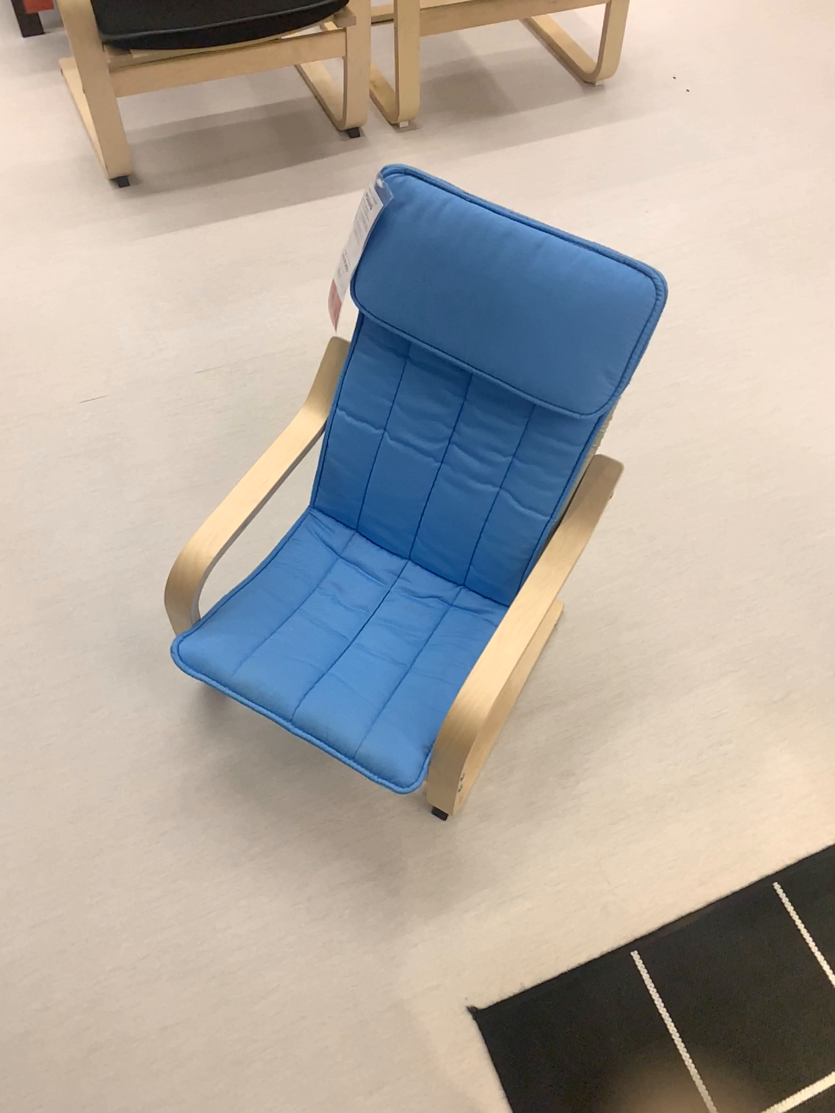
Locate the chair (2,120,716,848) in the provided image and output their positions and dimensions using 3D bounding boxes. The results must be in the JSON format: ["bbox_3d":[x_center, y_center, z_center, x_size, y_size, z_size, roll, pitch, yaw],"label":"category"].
[{"bbox_3d":[-0.046,-0.057,1.098,0.510,0.639,0.501,27,60,14],"label":"chair"}]
